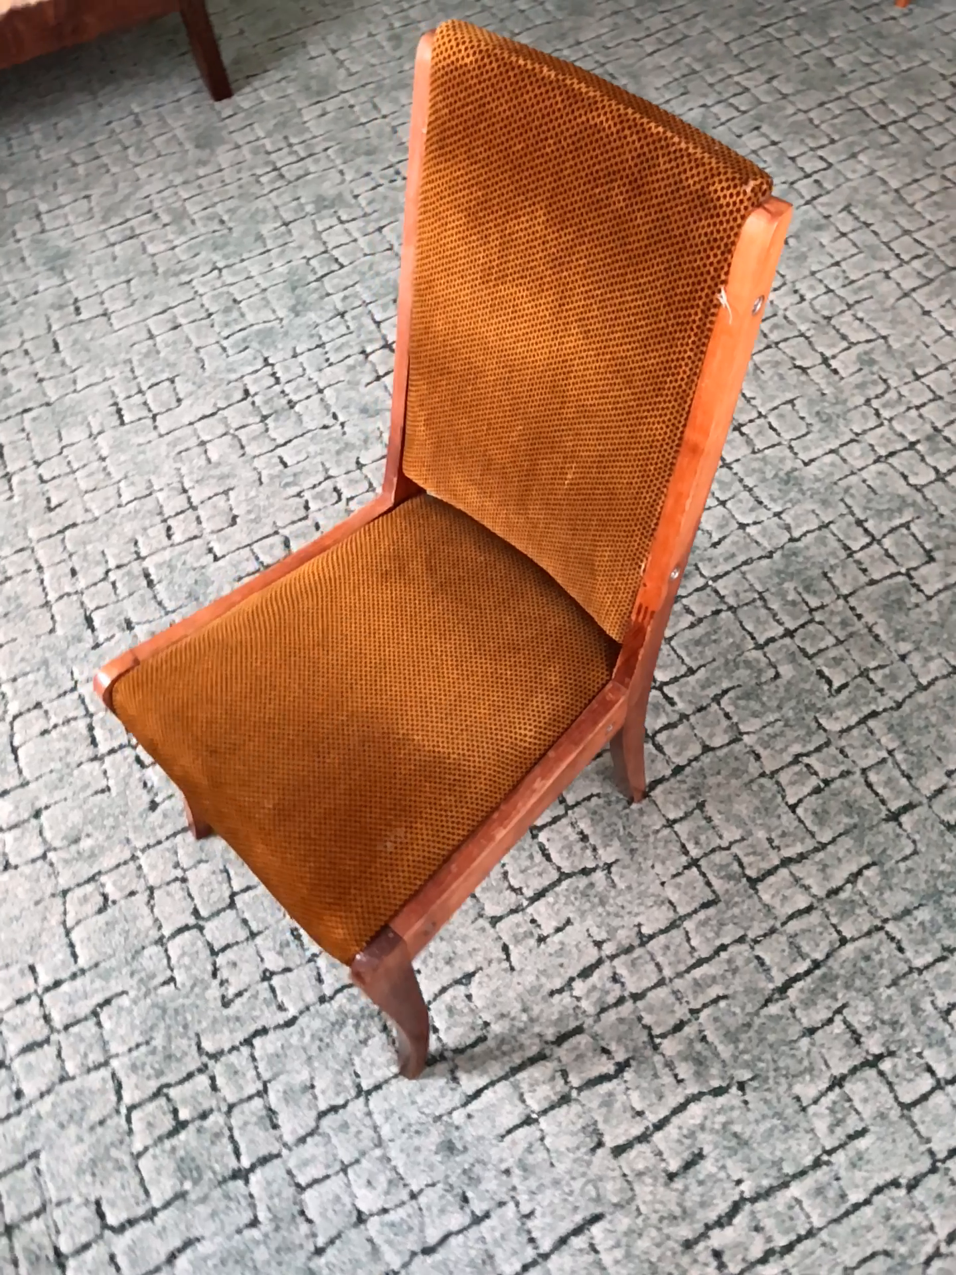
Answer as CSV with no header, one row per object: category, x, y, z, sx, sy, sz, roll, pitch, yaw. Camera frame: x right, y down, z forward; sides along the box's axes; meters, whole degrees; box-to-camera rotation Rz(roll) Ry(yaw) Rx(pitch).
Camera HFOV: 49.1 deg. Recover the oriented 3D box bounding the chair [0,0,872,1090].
chair,-0.086,-0.011,1.029,0.529,0.925,0.472,-41,64,-19
